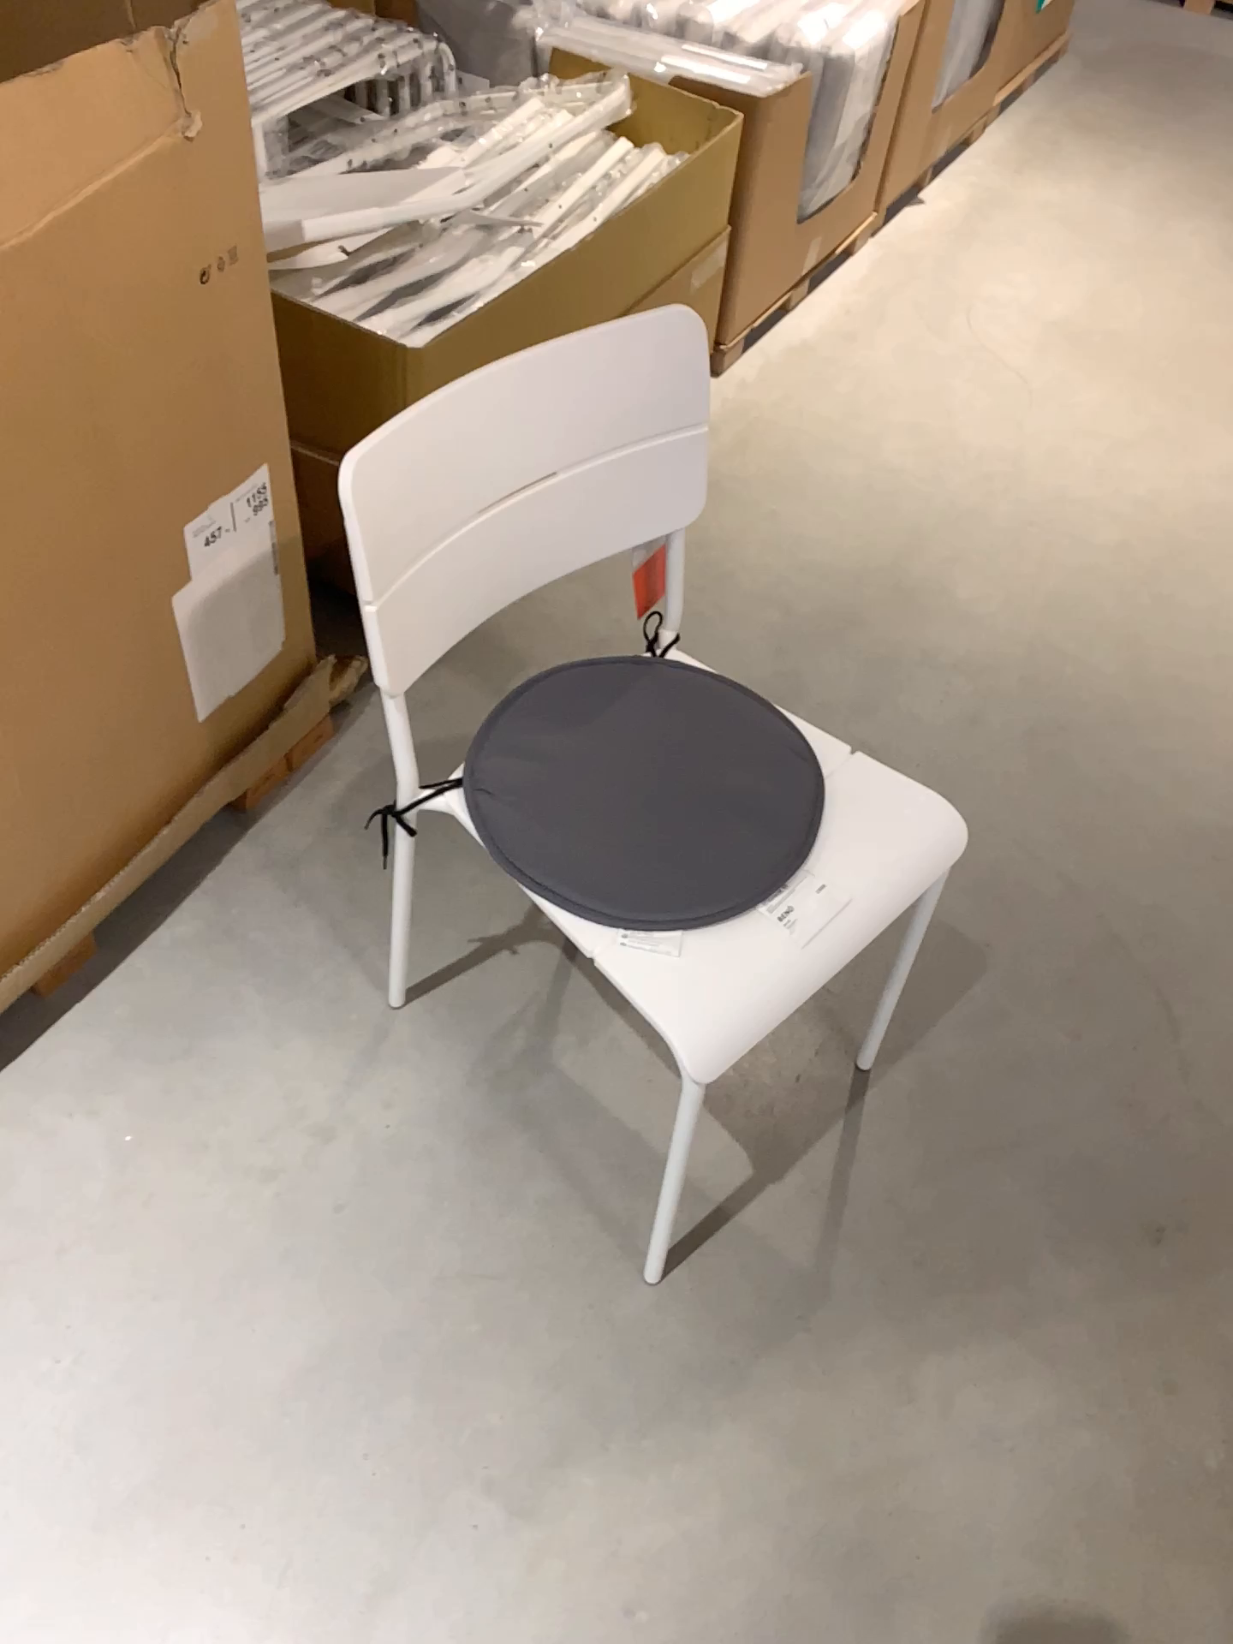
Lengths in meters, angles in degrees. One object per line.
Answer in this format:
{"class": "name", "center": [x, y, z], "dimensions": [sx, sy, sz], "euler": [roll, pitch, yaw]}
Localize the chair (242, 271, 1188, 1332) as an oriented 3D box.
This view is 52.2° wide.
{"class": "chair", "center": [0.046, 0.005, 1.162], "dimensions": [0.461, 0.718, 0.491], "euler": [-35, 61, -30]}
